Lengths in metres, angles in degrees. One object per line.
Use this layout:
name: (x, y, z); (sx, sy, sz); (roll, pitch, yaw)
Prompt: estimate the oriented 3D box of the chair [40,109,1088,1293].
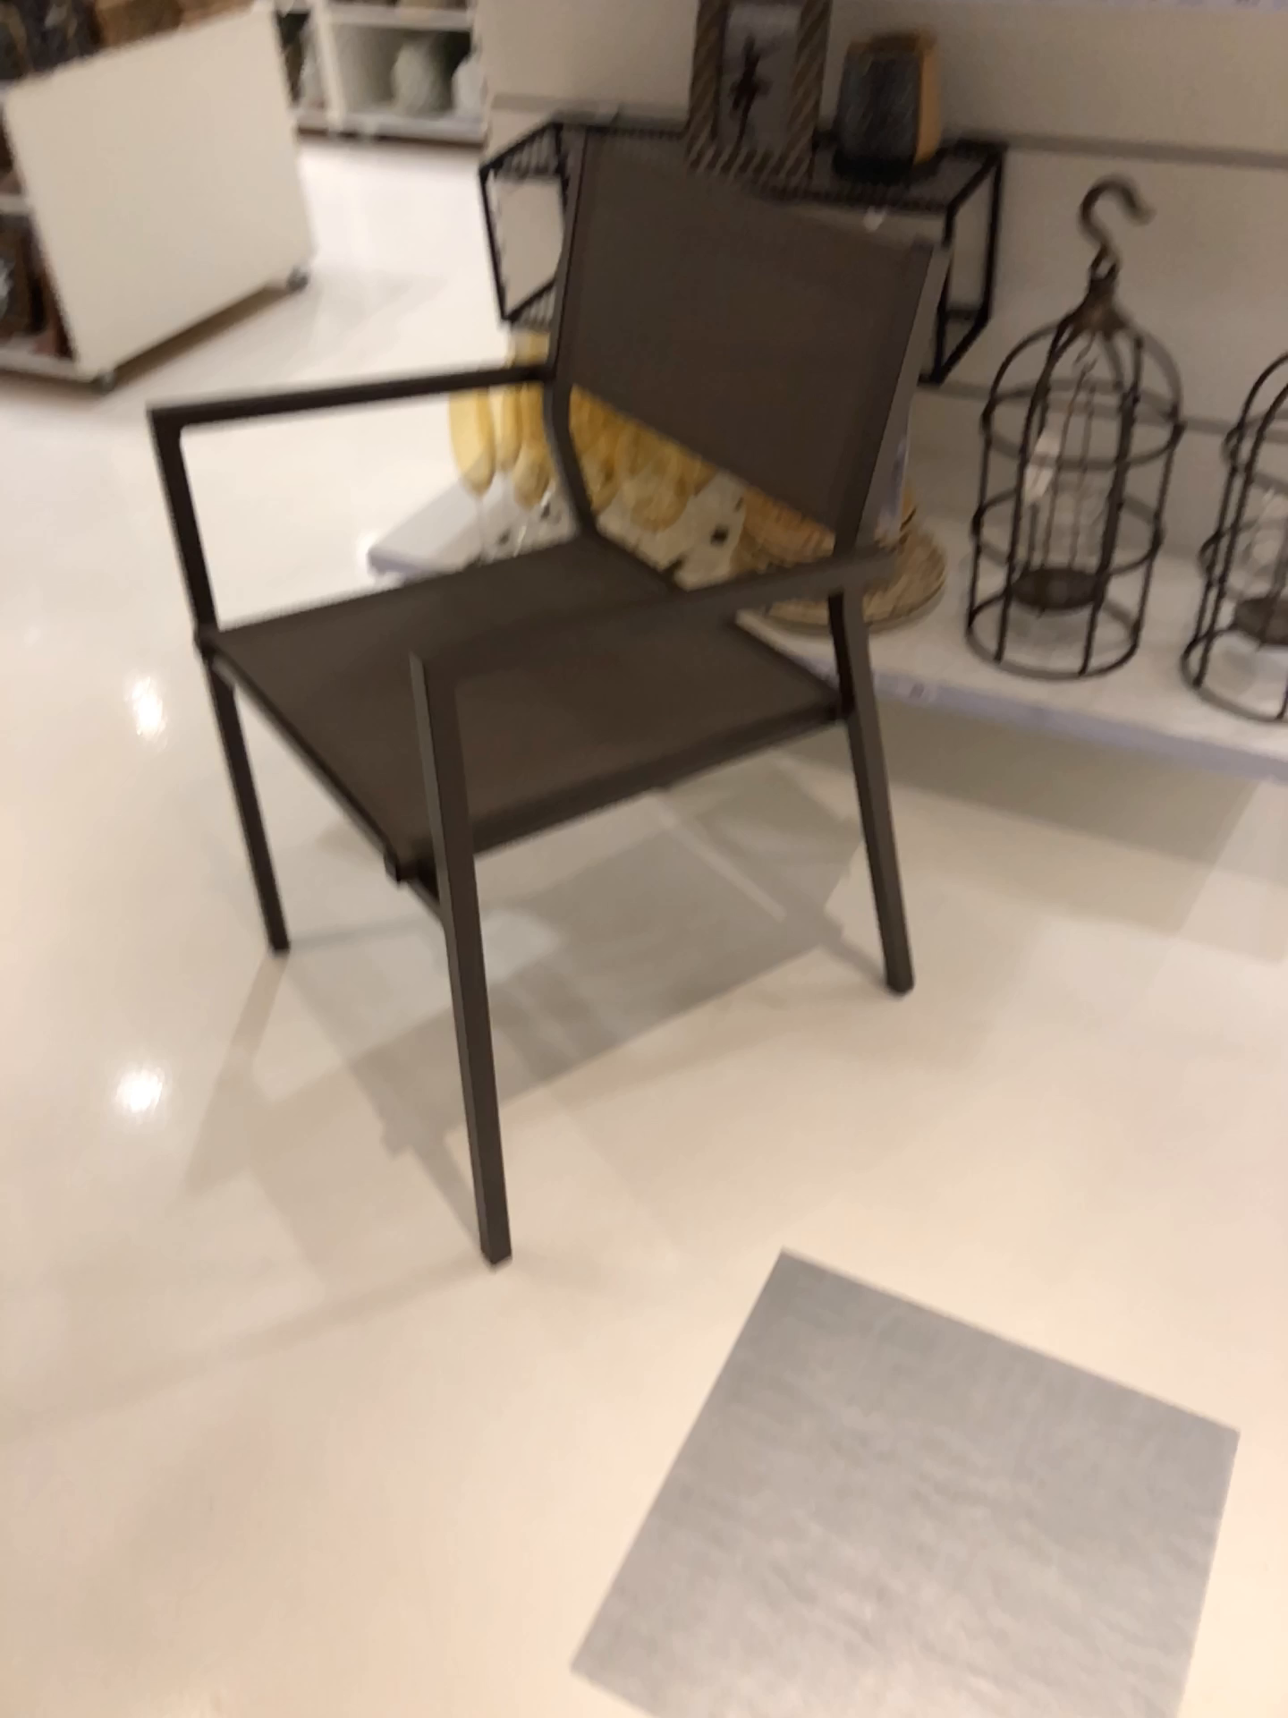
chair: (-0.067, -0.172, 1.313); (0.581, 0.764, 0.573); (-25, 44, -23)
